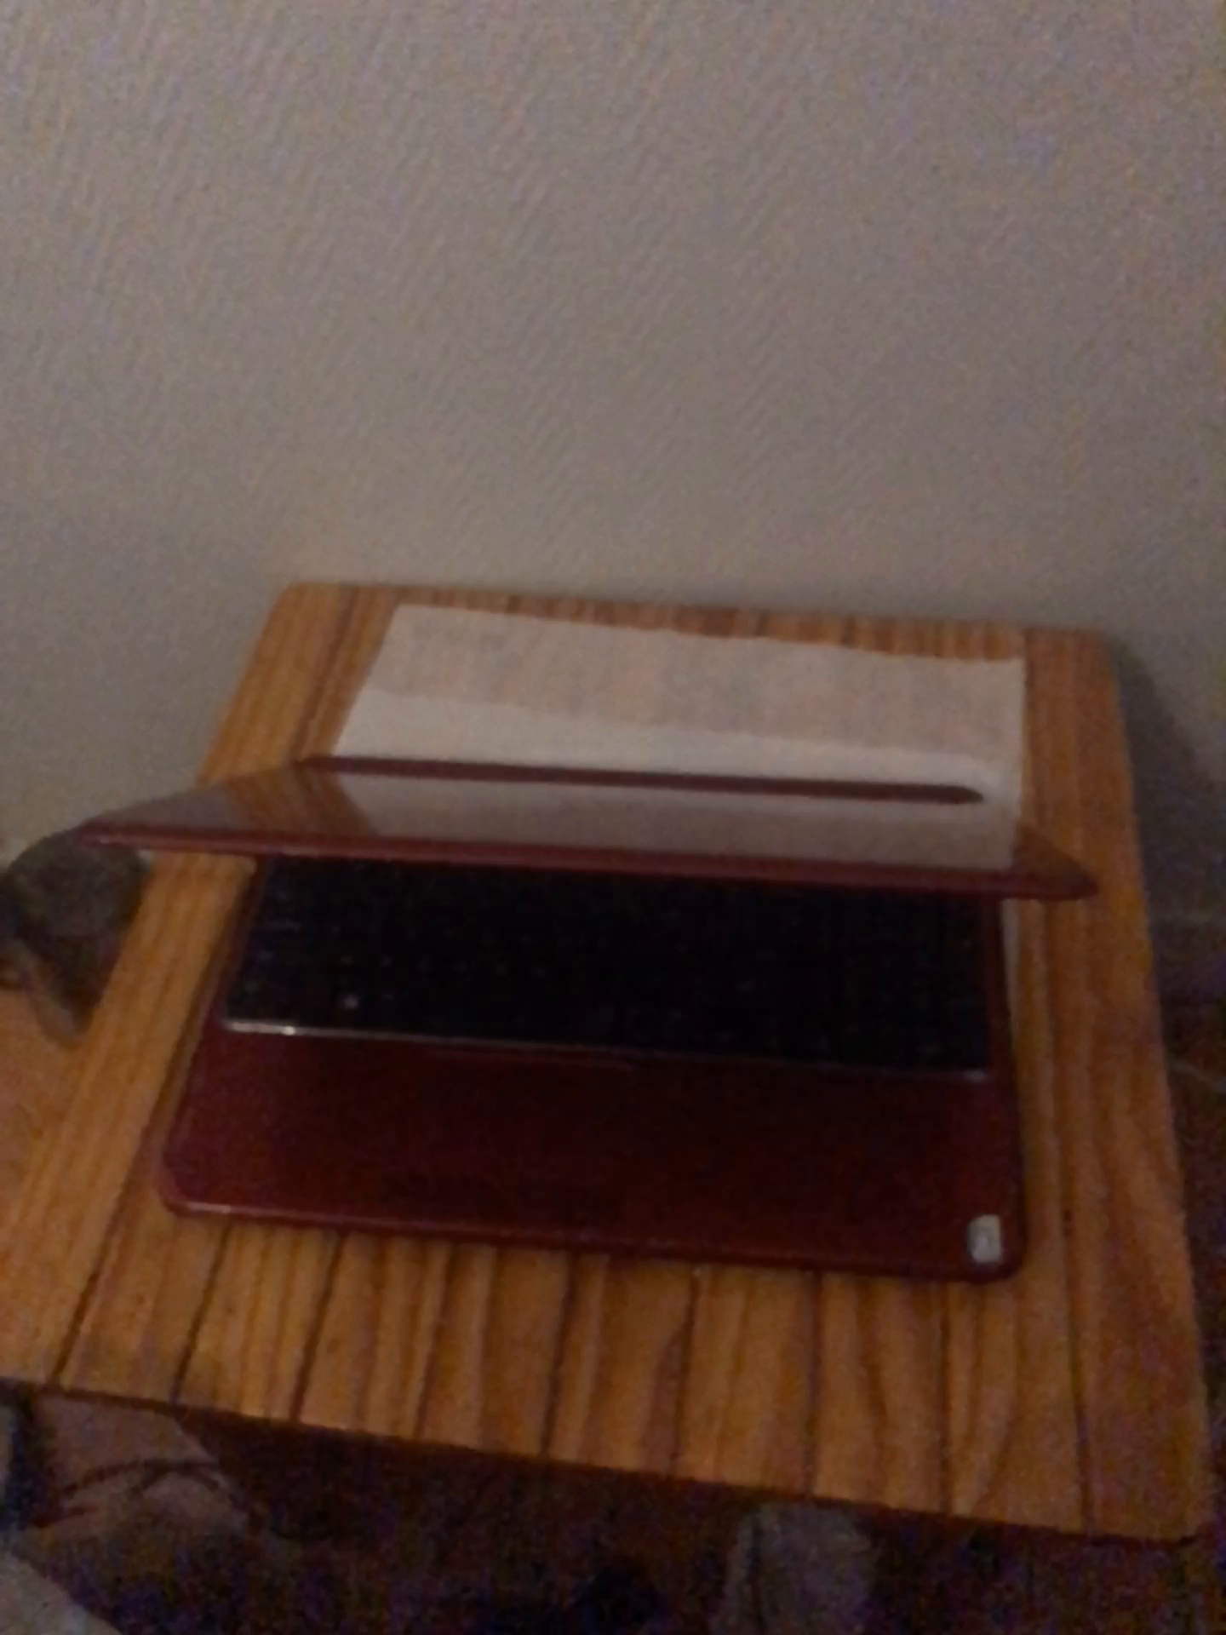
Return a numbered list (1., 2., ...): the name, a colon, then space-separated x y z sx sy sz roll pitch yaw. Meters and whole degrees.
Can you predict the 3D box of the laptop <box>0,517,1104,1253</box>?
1. laptop: -0.006 0.024 0.603 0.372 0.168 0.254 3 50 3
